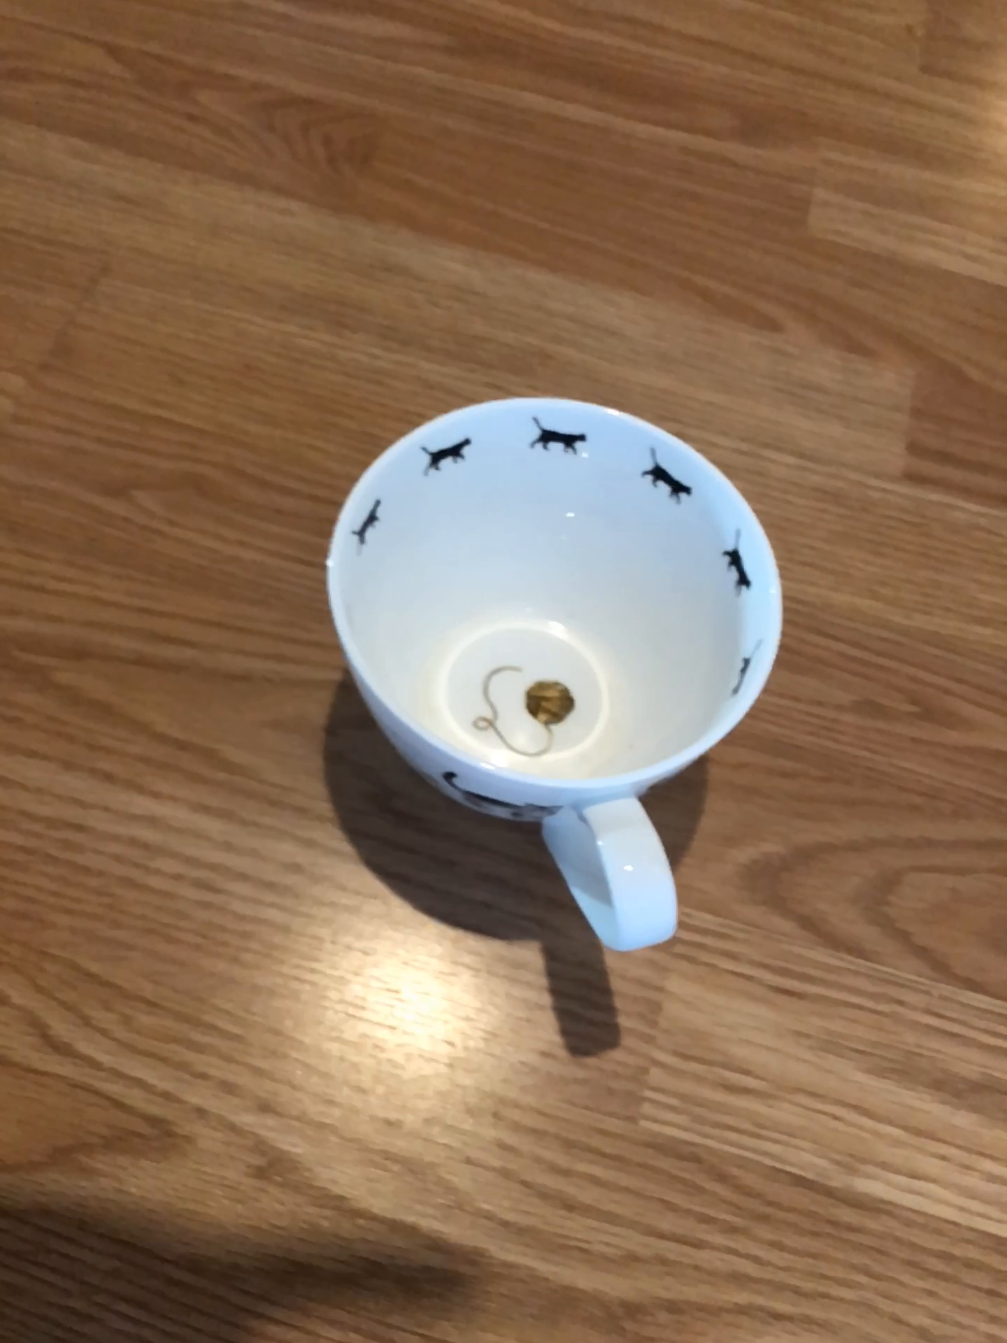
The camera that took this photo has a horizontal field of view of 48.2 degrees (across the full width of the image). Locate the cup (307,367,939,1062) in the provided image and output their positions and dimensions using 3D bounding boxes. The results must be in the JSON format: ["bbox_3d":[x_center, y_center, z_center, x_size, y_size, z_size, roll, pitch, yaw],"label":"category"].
[{"bbox_3d":[0.020,0.009,0.321,0.120,0.080,0.160,-10,65,-12],"label":"cup"}]
